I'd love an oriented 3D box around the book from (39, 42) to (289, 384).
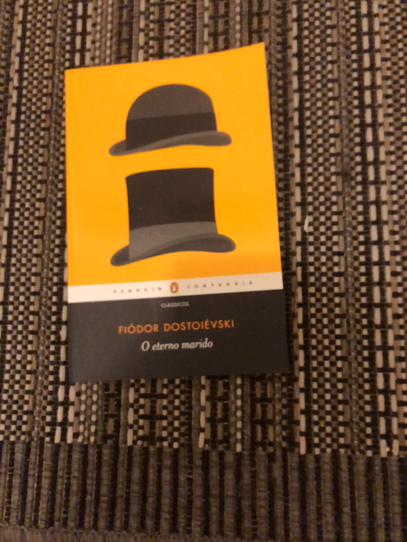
[{"bbox_3d":[-0.026,-0.033,0.258,0.130,0.020,0.180,-4,82,6],"label":"book"}]
